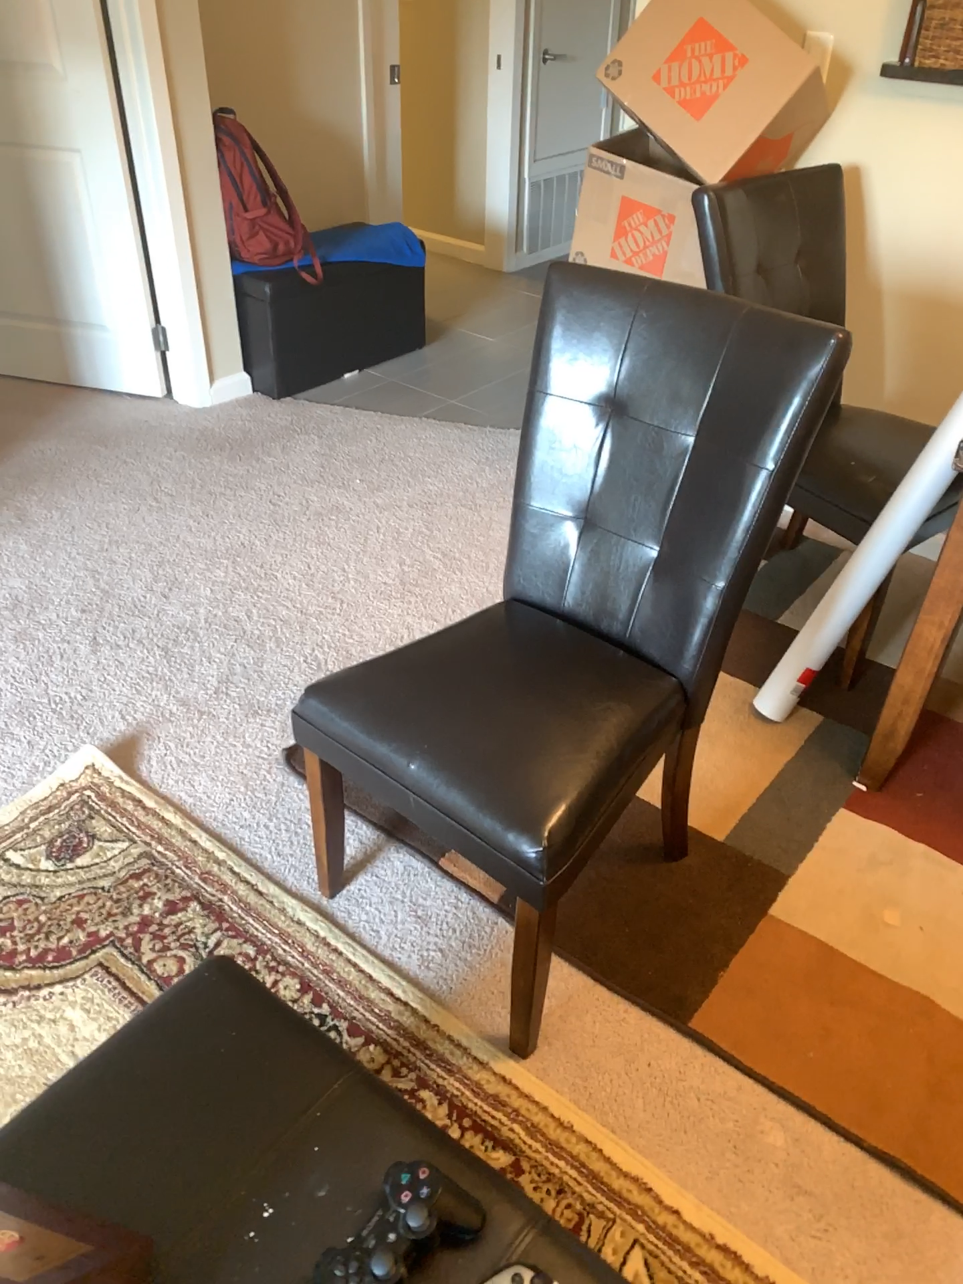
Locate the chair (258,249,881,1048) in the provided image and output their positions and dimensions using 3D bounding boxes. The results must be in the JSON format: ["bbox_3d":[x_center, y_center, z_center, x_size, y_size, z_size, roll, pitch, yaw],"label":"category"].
[{"bbox_3d":[0.123,-0.017,1.495,0.492,0.915,0.652,28,43,31],"label":"chair"}]
